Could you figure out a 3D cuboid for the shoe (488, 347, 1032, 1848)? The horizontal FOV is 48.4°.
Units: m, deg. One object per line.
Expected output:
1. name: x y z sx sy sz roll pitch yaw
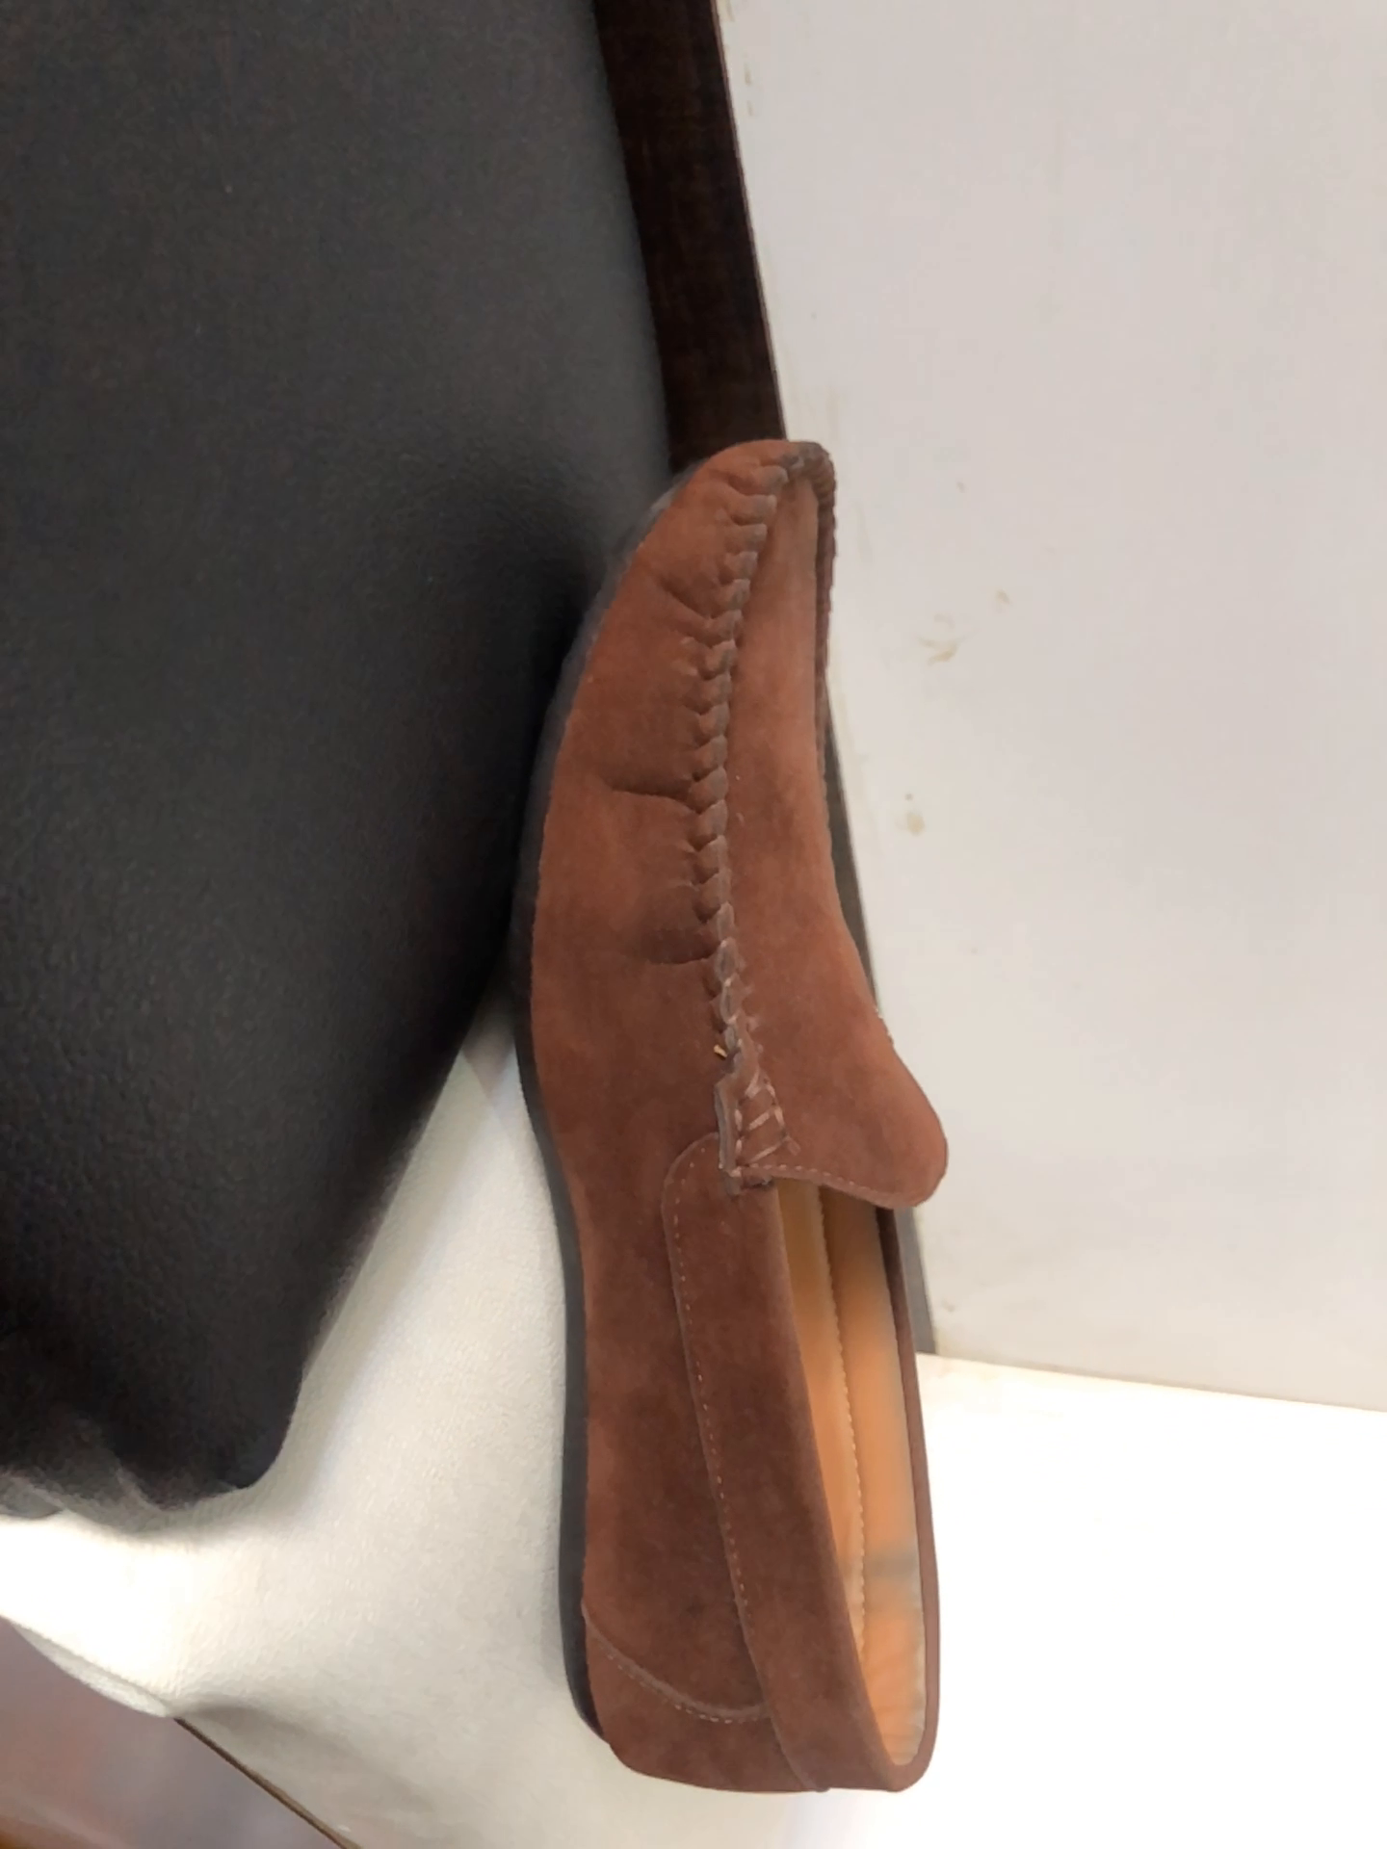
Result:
1. shoe: 0.025 0.036 0.351 0.141 0.080 0.290 -30 121 -70
